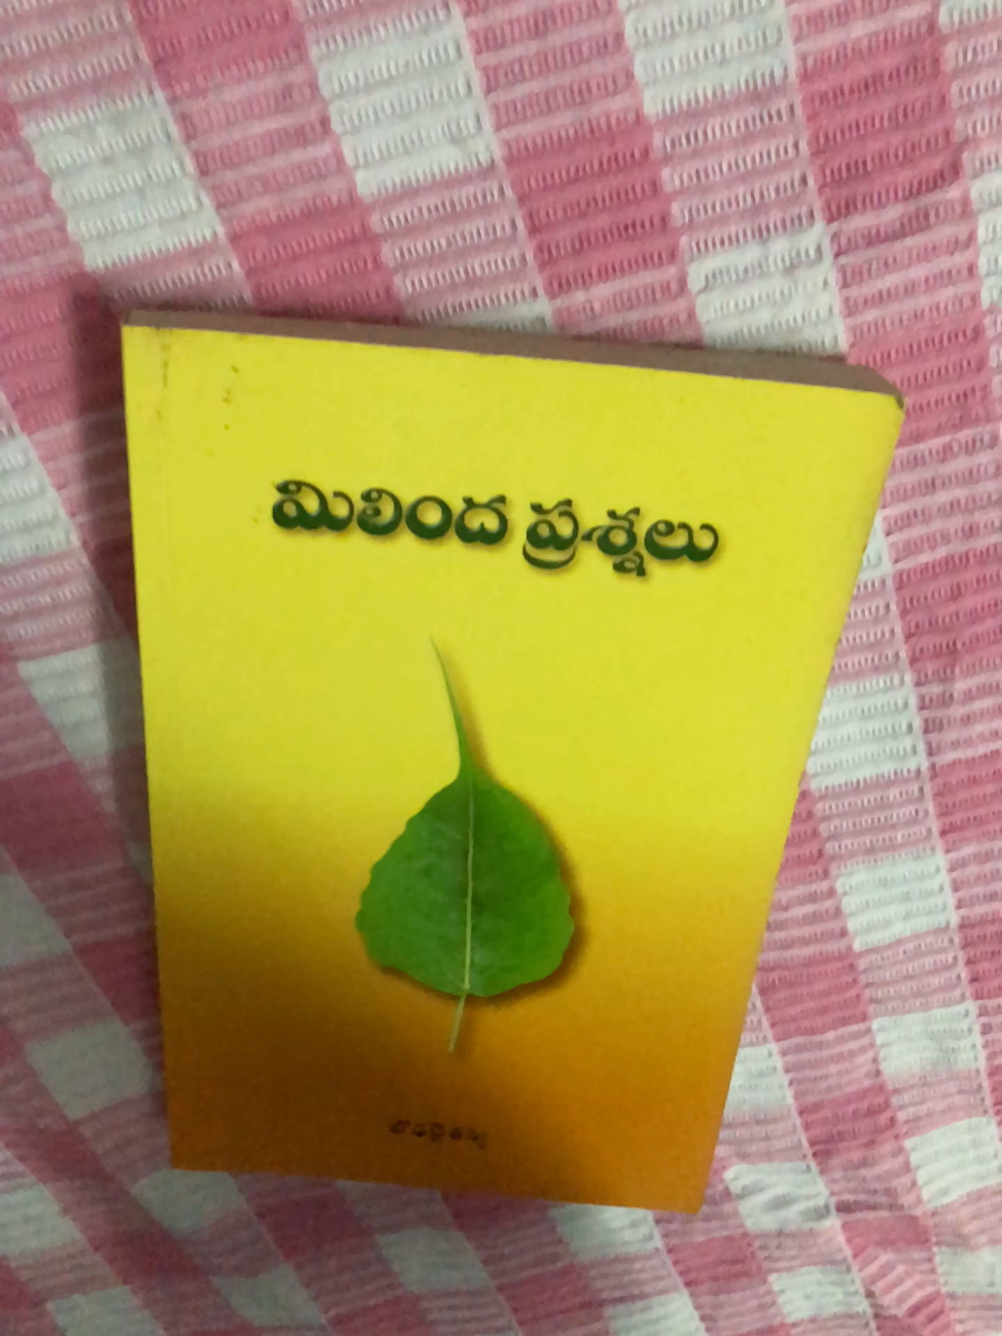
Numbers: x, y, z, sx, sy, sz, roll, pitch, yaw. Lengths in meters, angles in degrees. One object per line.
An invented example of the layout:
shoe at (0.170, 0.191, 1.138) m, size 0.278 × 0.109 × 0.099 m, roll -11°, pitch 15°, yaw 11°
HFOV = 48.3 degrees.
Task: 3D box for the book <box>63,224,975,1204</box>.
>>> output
book at (-0.005, 0.030, 0.241) m, size 0.150 × 0.020 × 0.221 m, roll 4°, pitch 117°, yaw -4°
